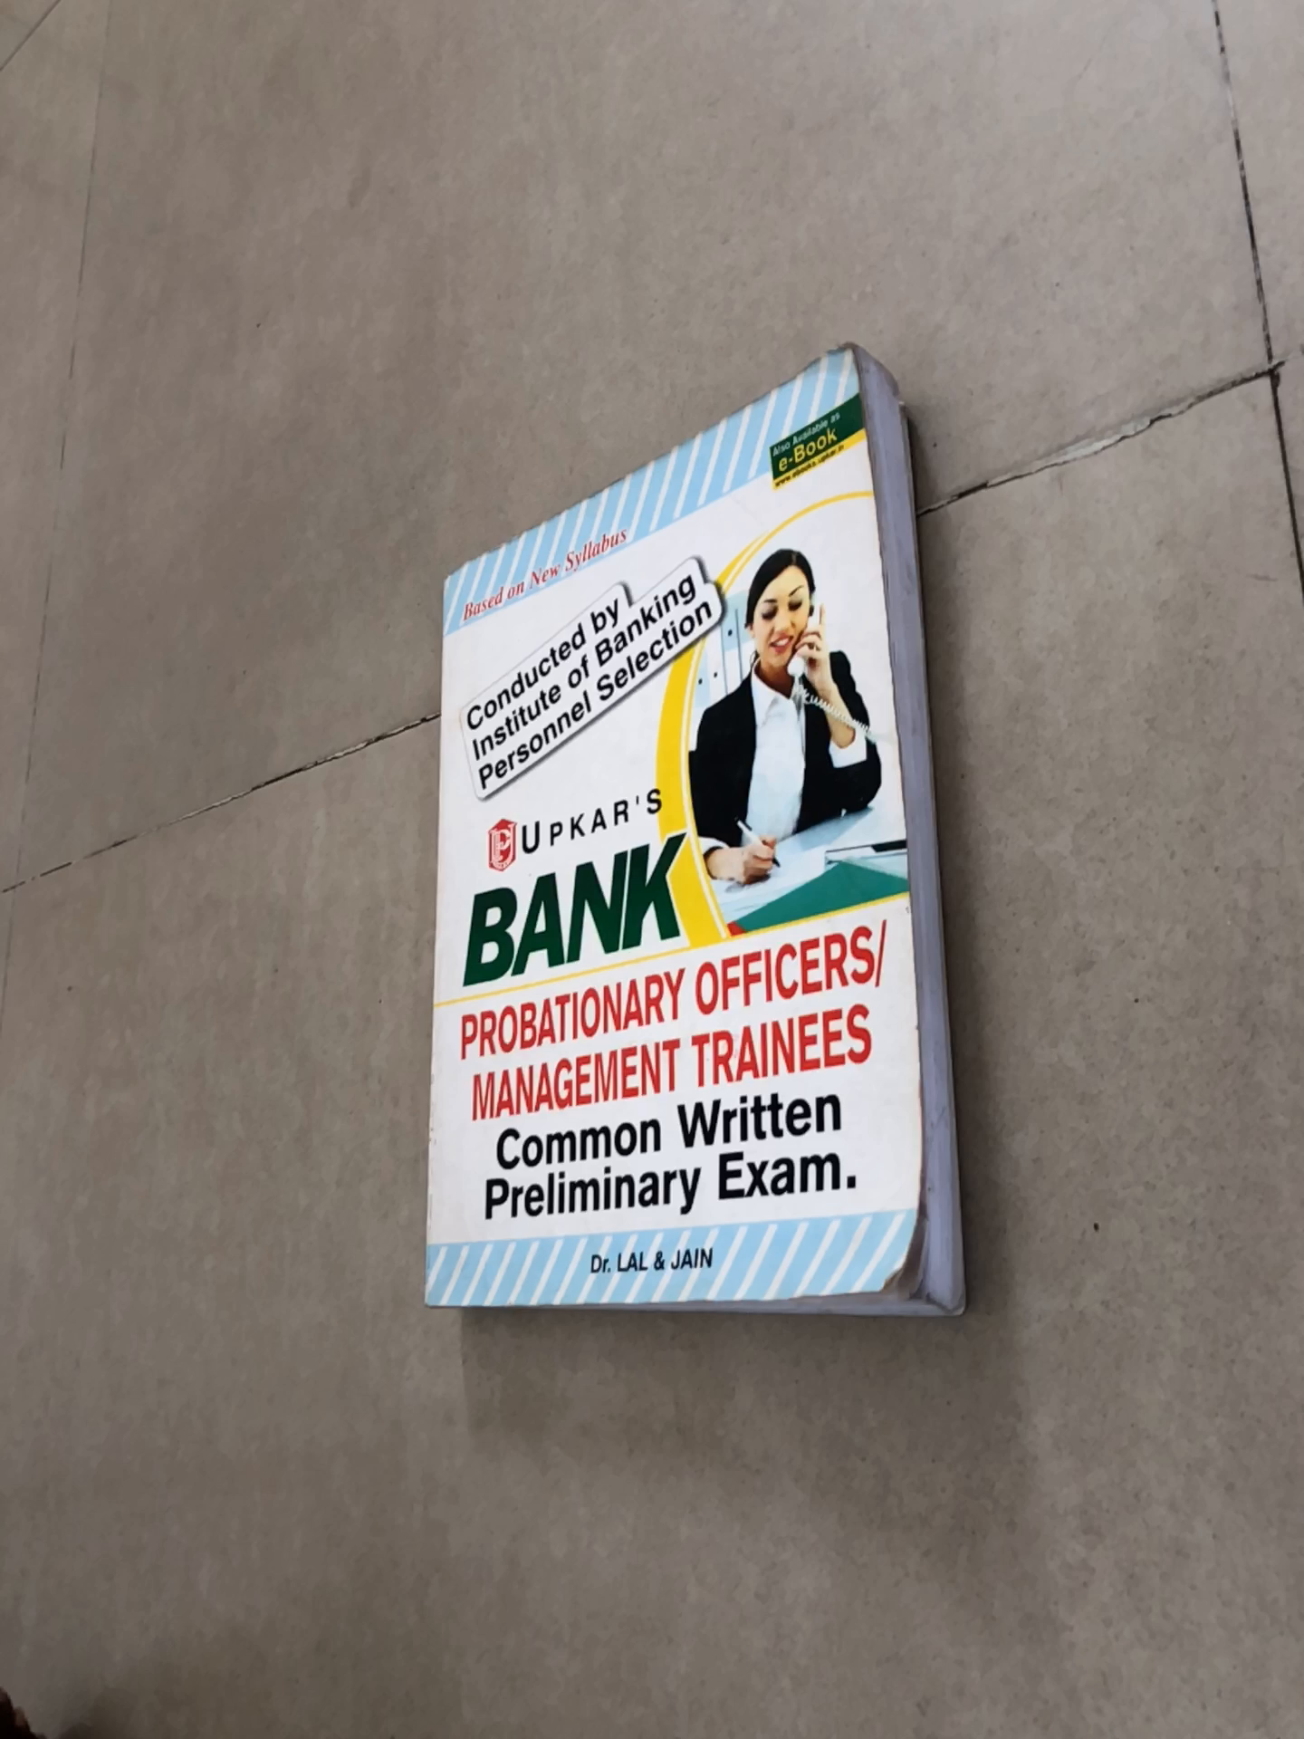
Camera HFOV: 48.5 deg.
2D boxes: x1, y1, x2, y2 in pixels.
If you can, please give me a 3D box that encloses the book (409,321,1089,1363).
[{"bbox_3d":[0.011,0.004,0.381,0.181,0.040,0.230,-14,72,41],"label":"book"}]
